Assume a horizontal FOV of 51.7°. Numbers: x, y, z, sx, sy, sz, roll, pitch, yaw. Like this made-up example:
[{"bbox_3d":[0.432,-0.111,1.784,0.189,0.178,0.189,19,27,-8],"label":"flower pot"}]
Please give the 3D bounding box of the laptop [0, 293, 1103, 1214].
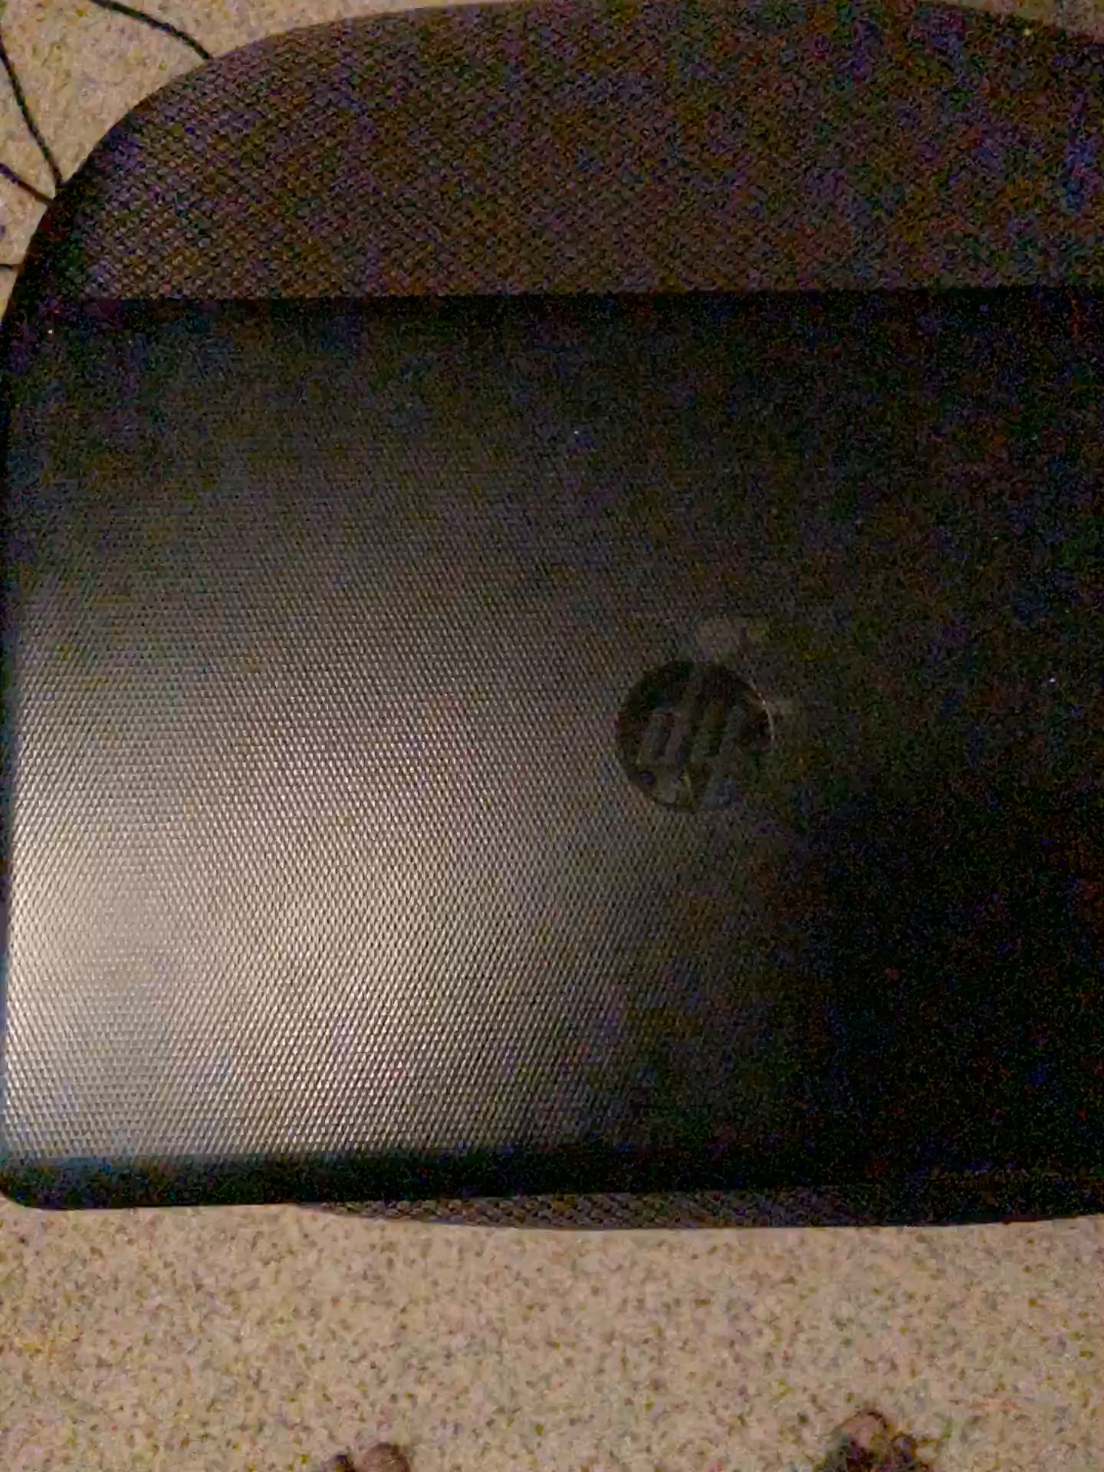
[{"bbox_3d":[0.042,-0.003,0.329,0.378,0.018,0.245,-1,84,-6],"label":"laptop"}]
